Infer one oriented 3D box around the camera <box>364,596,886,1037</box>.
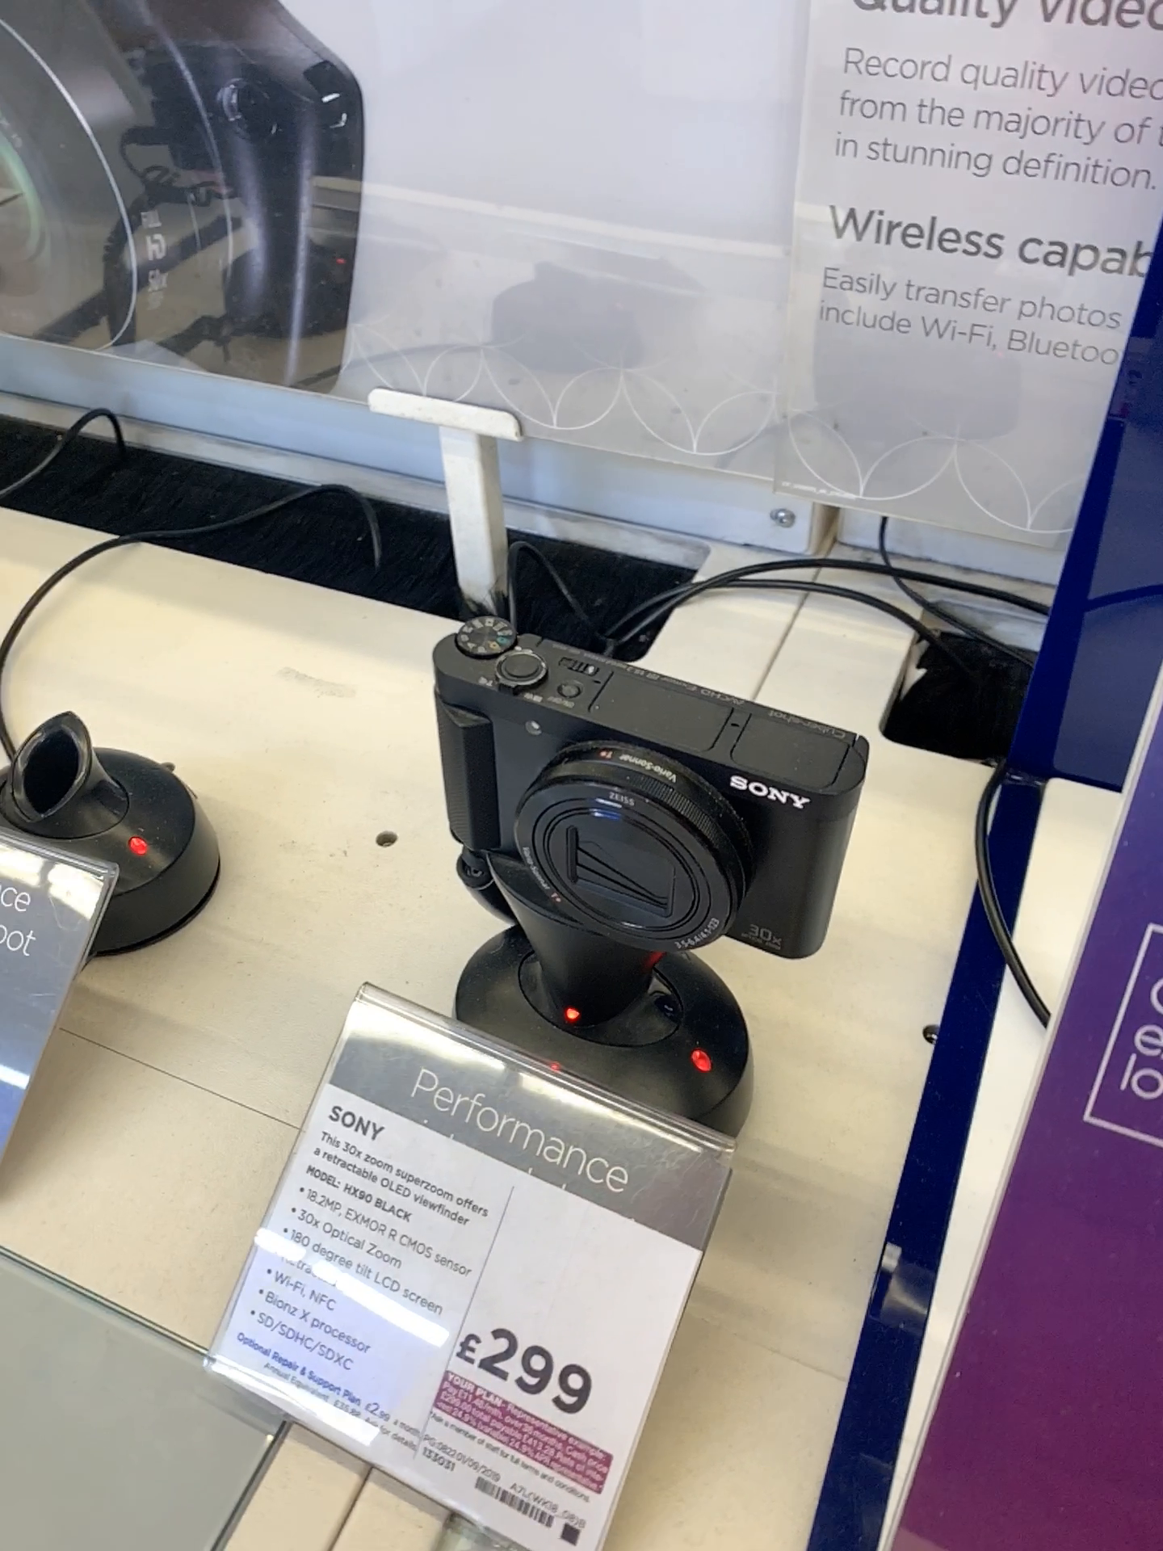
[{"bbox_3d":[0.009,0.008,0.268,0.100,0.059,0.040,18,48,18],"label":"camera"}]
